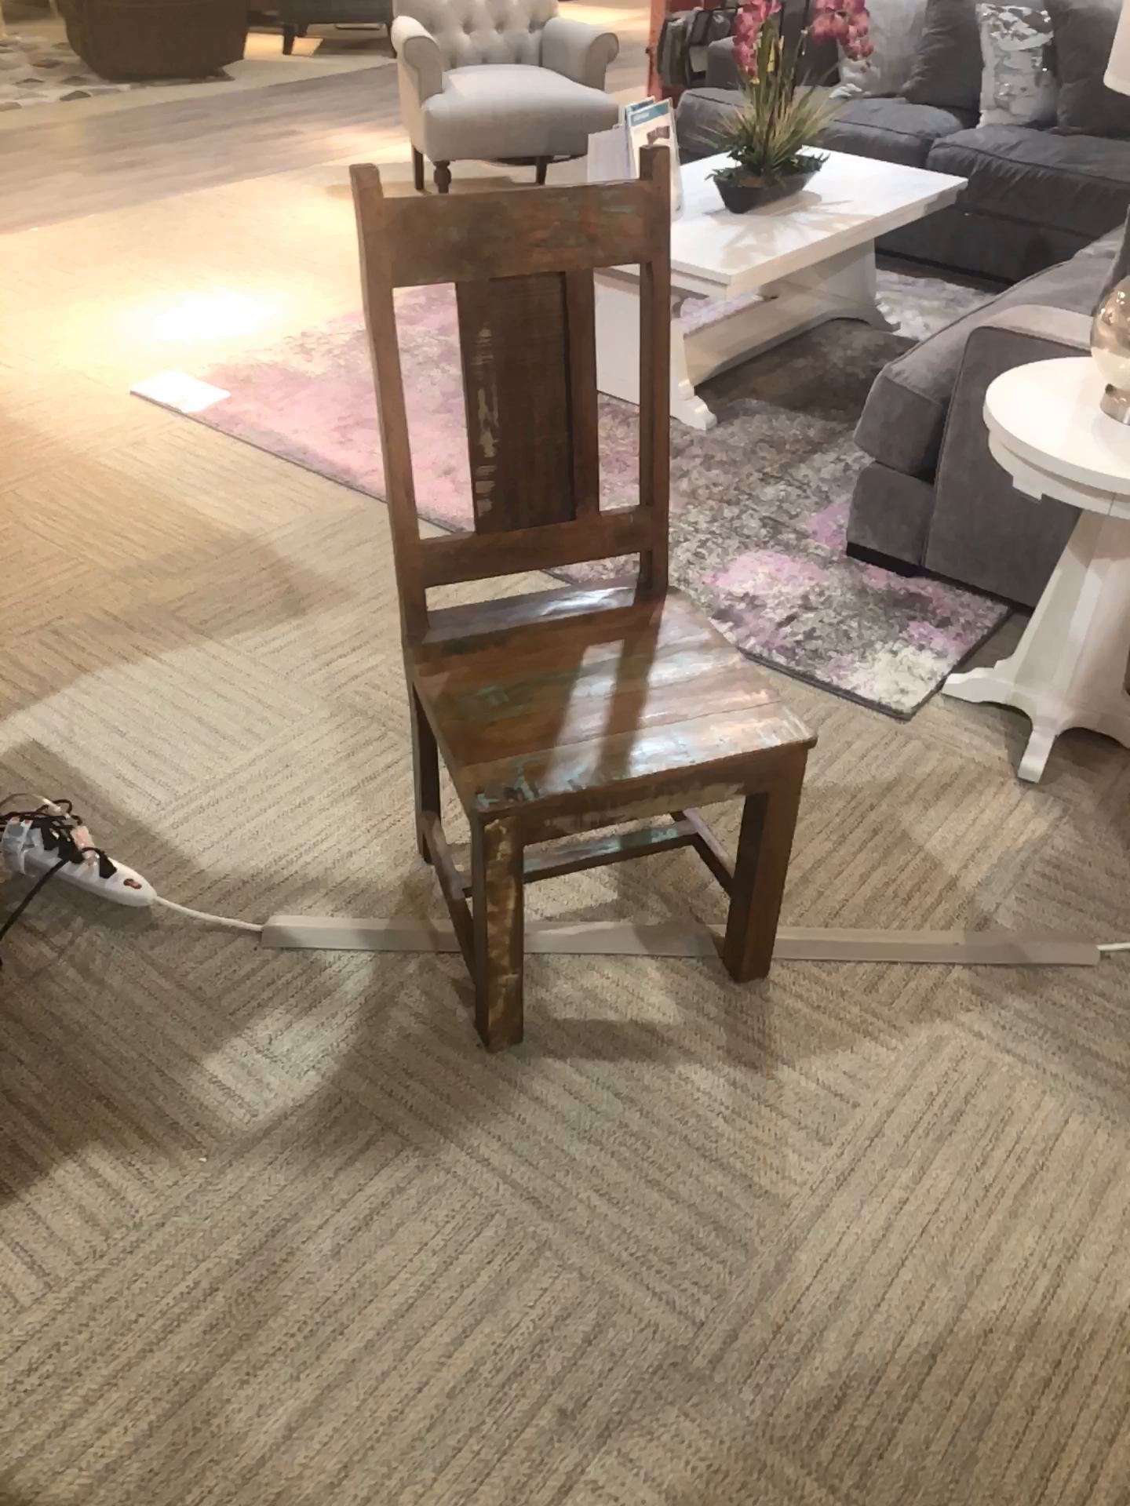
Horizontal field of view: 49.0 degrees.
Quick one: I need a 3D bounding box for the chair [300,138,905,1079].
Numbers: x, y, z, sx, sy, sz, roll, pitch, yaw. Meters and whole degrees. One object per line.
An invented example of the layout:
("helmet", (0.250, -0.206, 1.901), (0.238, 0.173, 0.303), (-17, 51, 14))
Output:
("chair", (0.003, -0.165, 1.602), (0.476, 1.024, 0.512), (-12, 40, -16))
